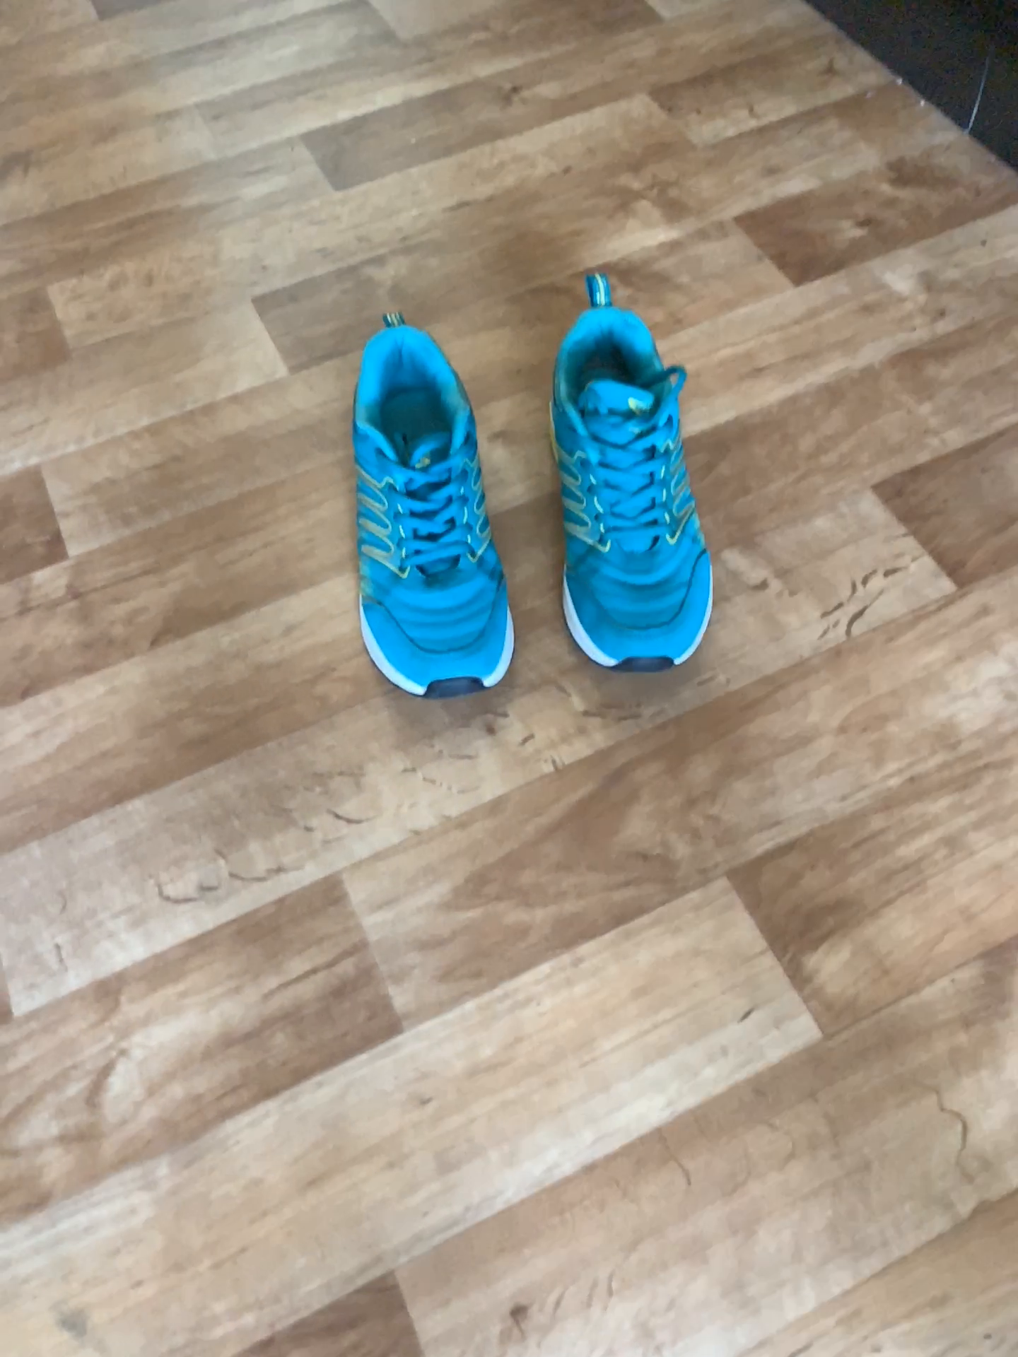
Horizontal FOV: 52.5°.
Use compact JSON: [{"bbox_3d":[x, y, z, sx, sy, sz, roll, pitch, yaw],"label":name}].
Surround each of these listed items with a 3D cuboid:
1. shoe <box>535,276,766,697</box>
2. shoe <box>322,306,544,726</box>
[{"bbox_3d":[0.078,-0.125,0.662,0.100,0.120,0.241,-4,60,-2],"label":"shoe"},{"bbox_3d":[-0.052,-0.106,0.652,0.100,0.120,0.231,-7,59,-7],"label":"shoe"}]
